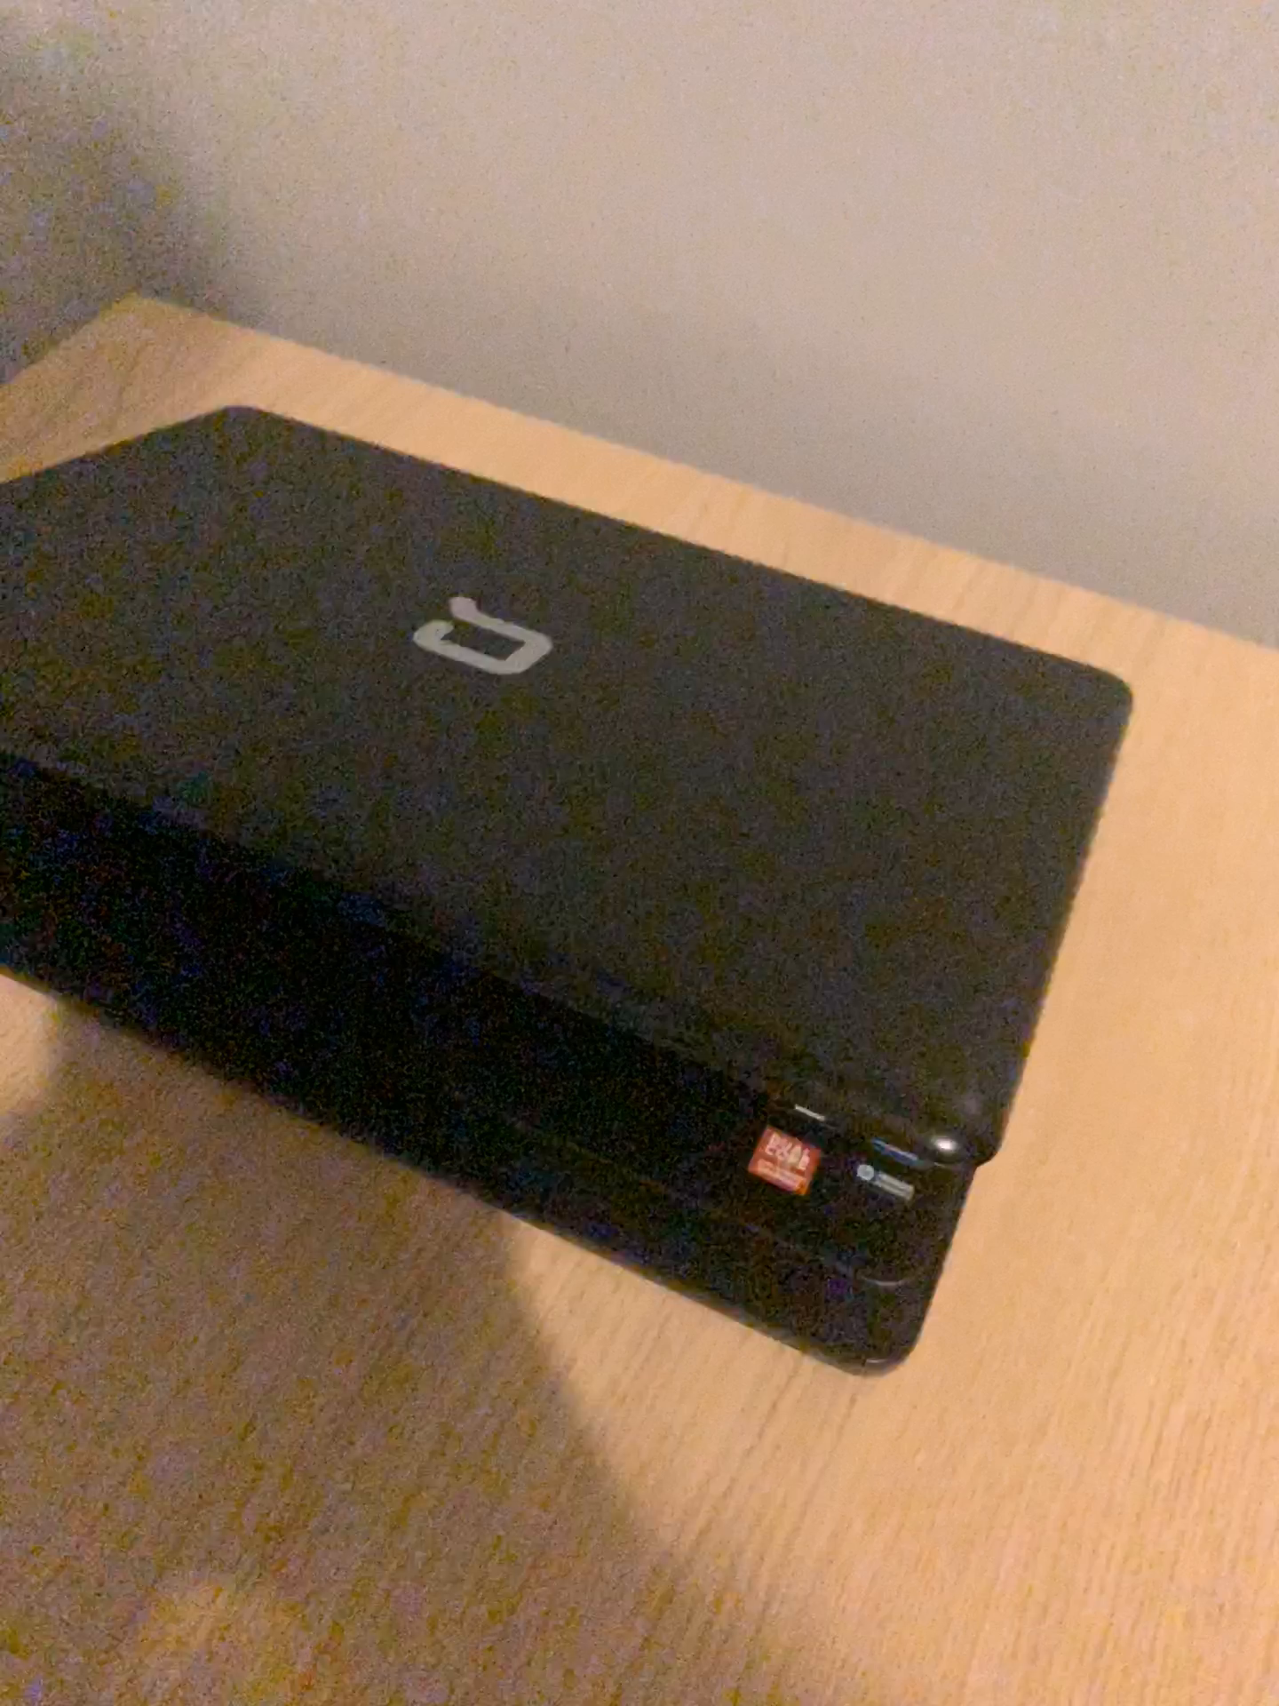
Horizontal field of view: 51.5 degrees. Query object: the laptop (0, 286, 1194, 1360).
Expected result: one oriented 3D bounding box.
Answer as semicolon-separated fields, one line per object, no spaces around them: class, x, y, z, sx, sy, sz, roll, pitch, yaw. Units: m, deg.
laptop;-0.056;-0.042;0.408;0.373;0.064;0.224;21;59;16
